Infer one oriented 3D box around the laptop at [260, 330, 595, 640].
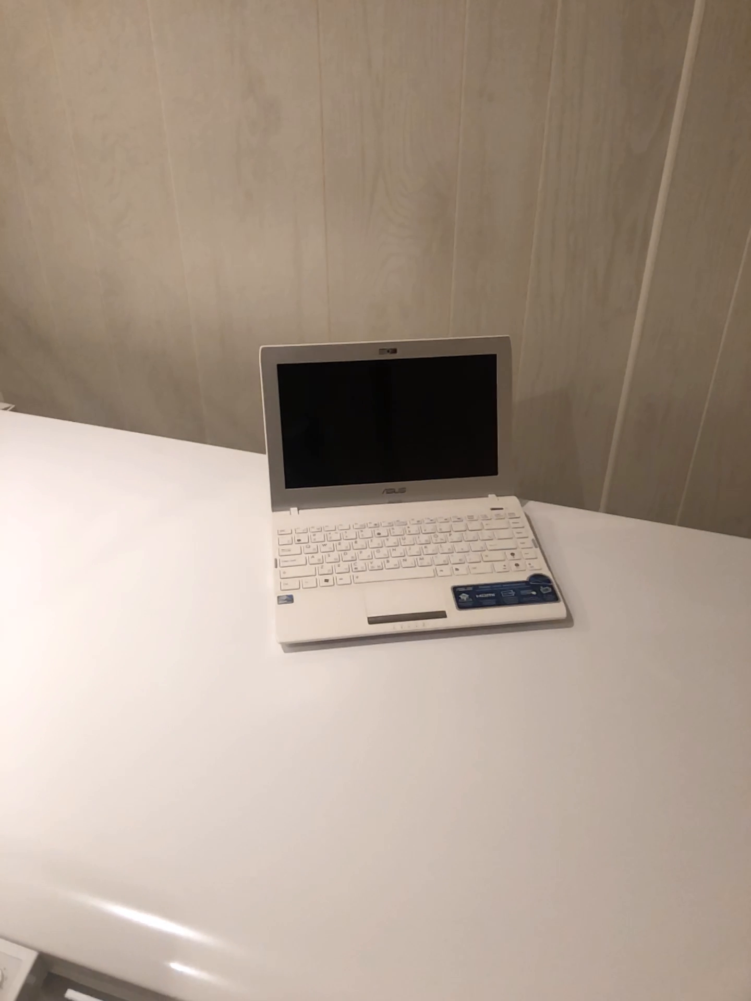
[{"bbox_3d":[0.031,-0.032,0.880,0.287,0.168,0.293,-4,37,-6],"label":"laptop"}]
